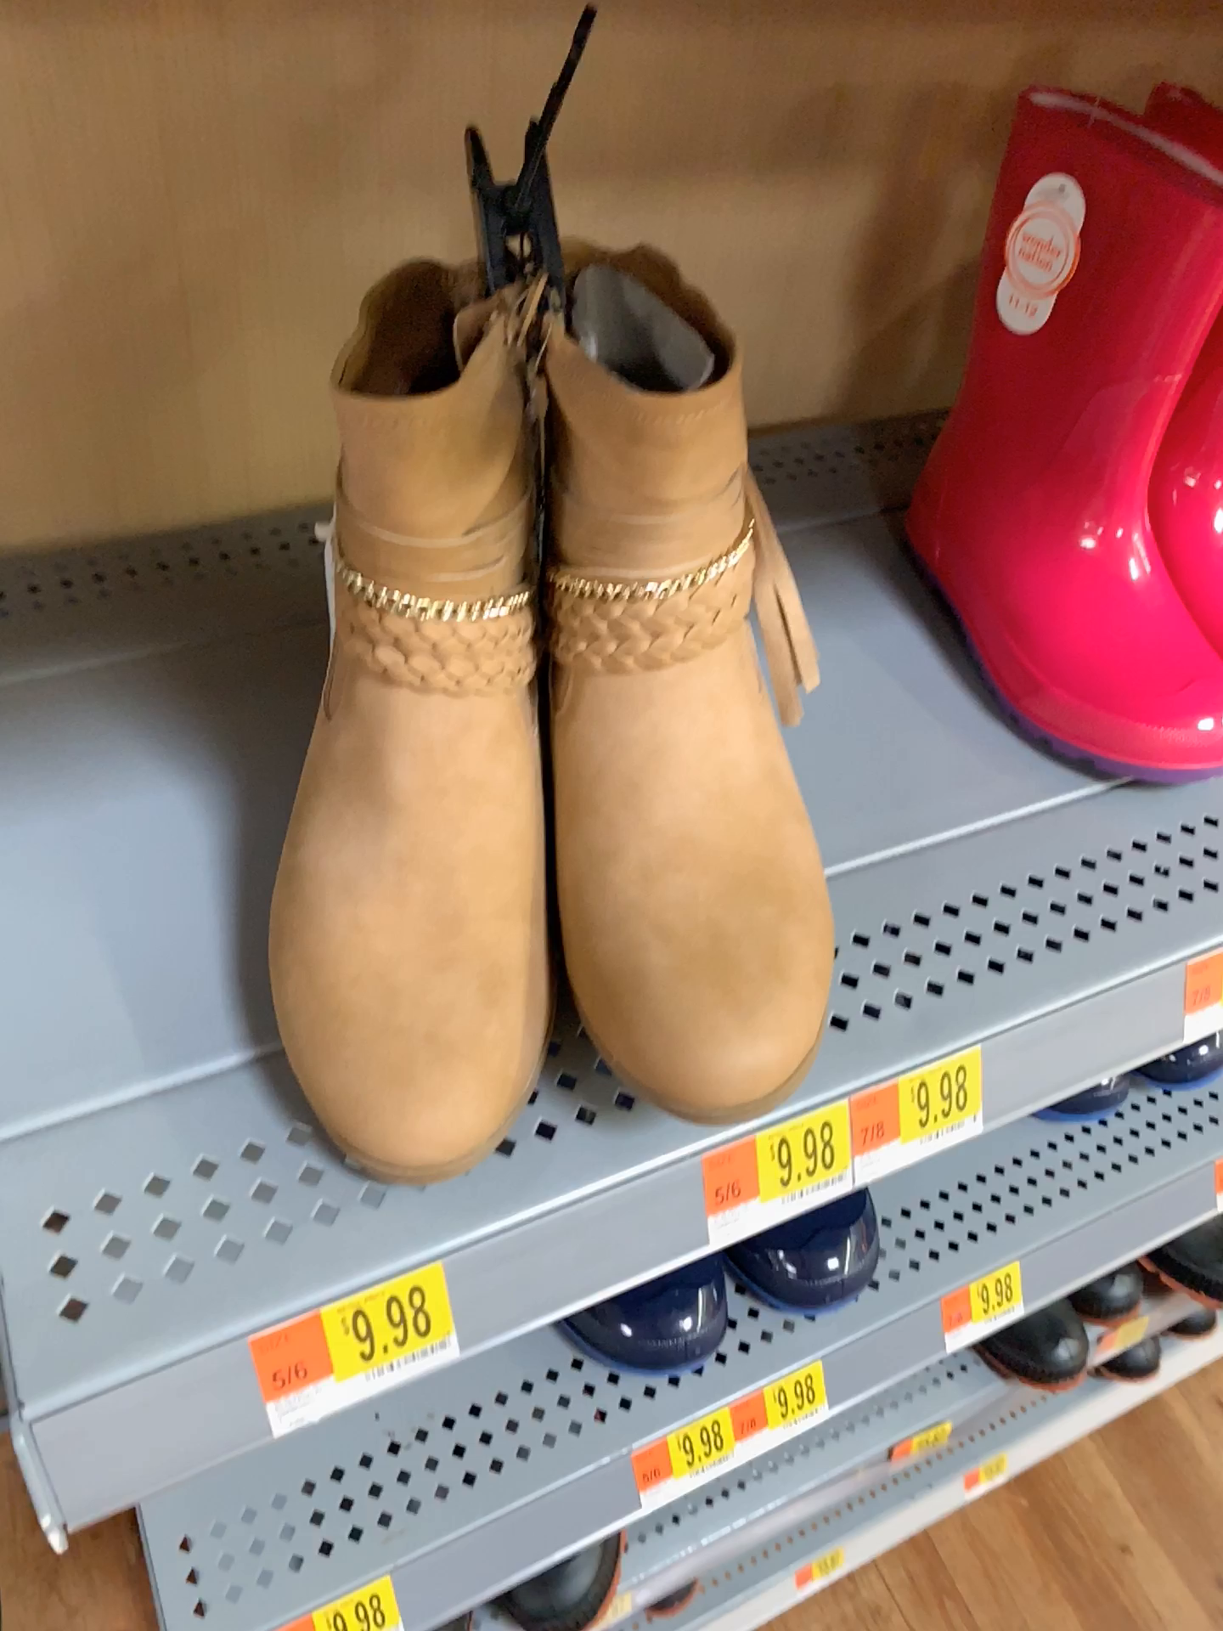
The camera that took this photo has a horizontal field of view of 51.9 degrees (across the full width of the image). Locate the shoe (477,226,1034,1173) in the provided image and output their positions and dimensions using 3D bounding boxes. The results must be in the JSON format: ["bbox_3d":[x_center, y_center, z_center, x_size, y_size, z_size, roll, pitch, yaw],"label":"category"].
[{"bbox_3d":[0.014,-0.045,0.372,0.083,0.154,0.239,-2,46,-11],"label":"shoe"}]

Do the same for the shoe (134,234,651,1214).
[{"bbox_3d":[-0.044,-0.032,0.351,0.088,0.161,0.218,5,45,-4],"label":"shoe"}]
